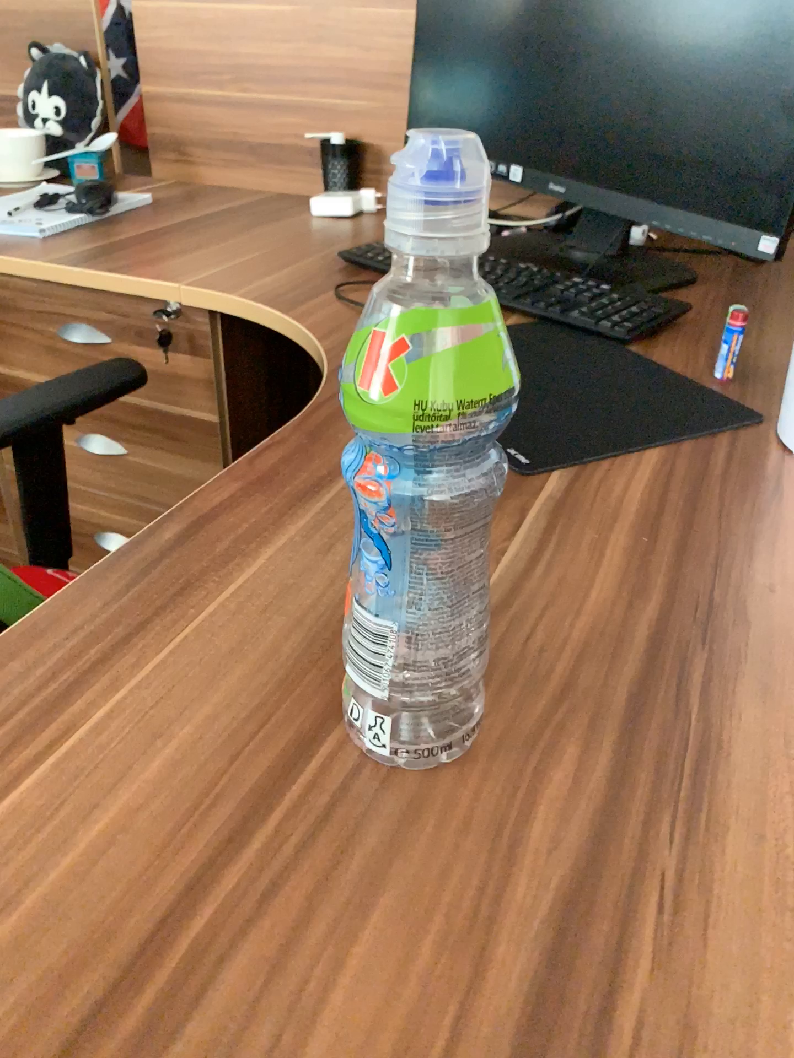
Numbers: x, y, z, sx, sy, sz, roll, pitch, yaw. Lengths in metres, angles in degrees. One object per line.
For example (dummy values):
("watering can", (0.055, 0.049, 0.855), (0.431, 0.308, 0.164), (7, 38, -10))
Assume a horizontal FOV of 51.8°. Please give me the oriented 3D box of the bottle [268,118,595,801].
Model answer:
("bottle", (0.006, -0.018, 0.310), (0.070, 0.239, 0.070), (2, 32, -1))
